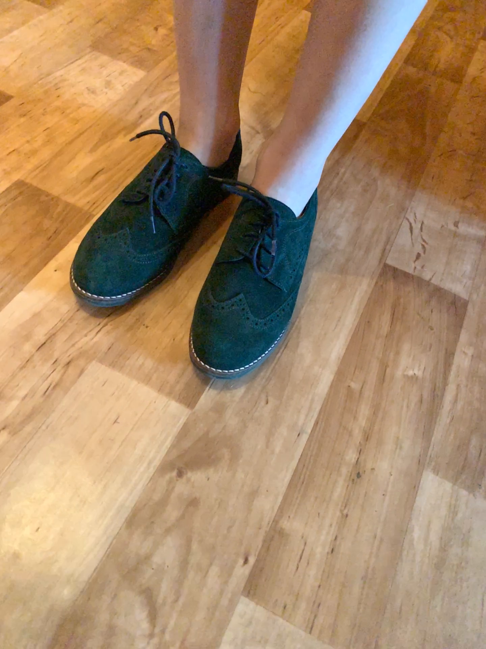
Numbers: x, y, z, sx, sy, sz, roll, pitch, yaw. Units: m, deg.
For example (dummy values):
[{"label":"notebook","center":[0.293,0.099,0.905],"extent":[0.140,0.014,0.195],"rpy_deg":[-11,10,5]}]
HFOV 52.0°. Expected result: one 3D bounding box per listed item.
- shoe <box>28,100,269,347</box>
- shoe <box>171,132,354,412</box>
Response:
[{"label":"shoe","center":[-0.079,-0.113,0.500],"extent":[0.090,0.080,0.261],"rpy_deg":[29,56,8]},{"label":"shoe","center":[0.026,-0.060,0.467],"extent":[0.100,0.080,0.251],"rpy_deg":[18,55,1]}]
